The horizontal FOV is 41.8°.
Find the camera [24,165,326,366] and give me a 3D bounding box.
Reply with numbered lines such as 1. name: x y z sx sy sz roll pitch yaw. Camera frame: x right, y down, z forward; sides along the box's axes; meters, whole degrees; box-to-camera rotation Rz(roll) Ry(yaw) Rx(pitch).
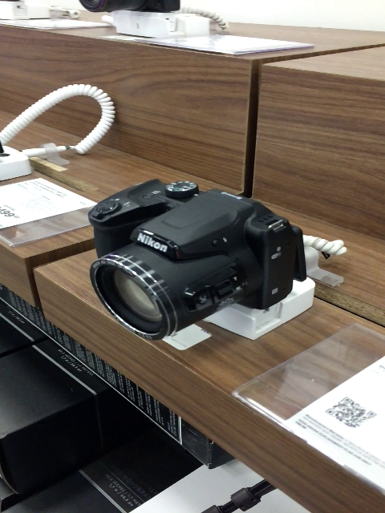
1. camera: -0.013 -0.004 0.314 0.106 0.063 0.124 -26 40 -36
